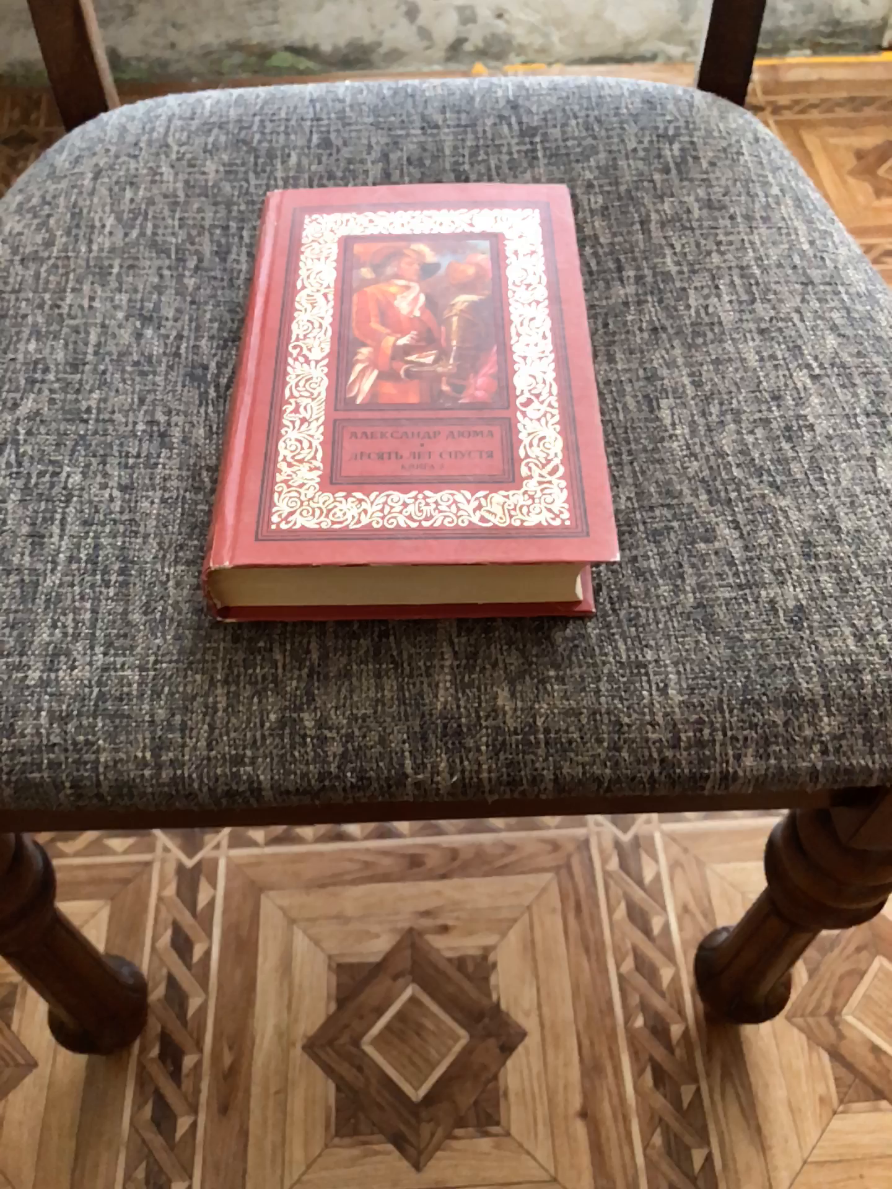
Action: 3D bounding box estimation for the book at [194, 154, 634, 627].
[{"bbox_3d":[-0.011,-0.087,0.369,0.131,0.038,0.207,-2,55,1],"label":"book"}]
